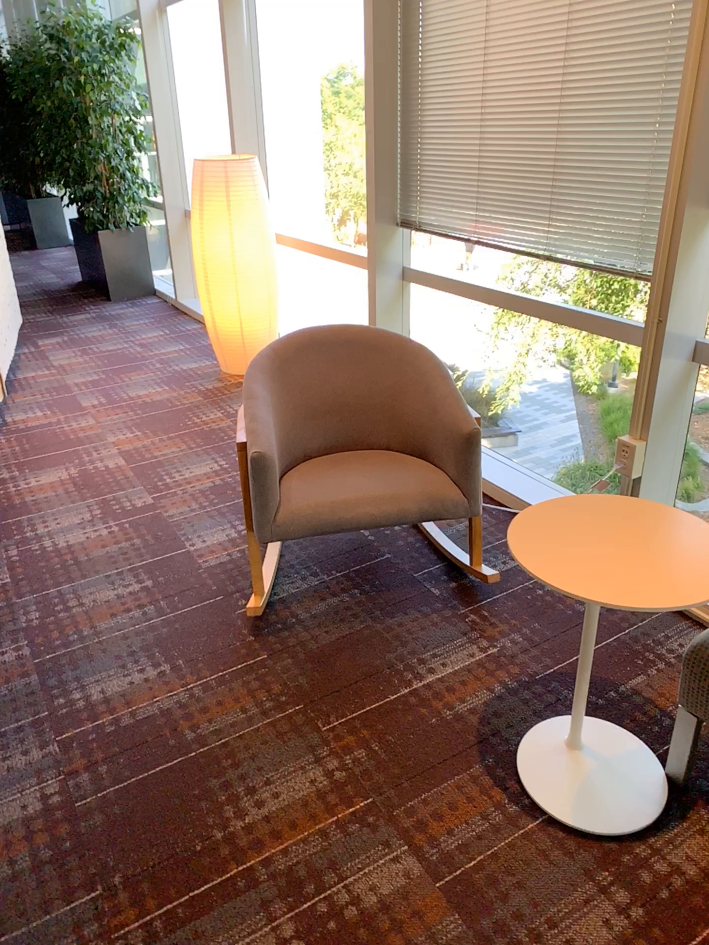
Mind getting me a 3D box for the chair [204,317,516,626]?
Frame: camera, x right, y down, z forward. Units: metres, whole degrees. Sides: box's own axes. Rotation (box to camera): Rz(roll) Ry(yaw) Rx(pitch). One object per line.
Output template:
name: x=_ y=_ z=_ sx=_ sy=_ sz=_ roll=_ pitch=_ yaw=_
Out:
chair: x=-0.046 y=-0.077 z=2.493 sx=0.850 sy=0.656 sz=0.915 roll=-6 pitch=26 yaw=-9
